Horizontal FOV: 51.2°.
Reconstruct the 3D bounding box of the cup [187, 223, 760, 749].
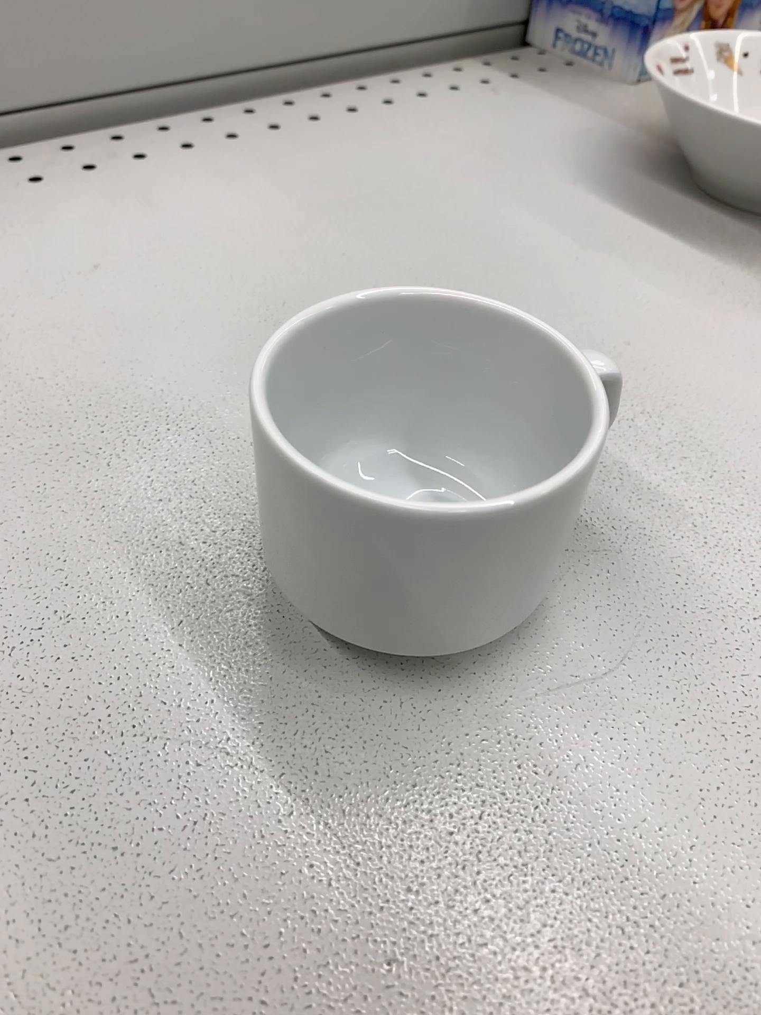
[{"bbox_3d":[0.023,-0.013,0.194,0.105,0.056,0.082,-25,53,-25],"label":"cup"}]
